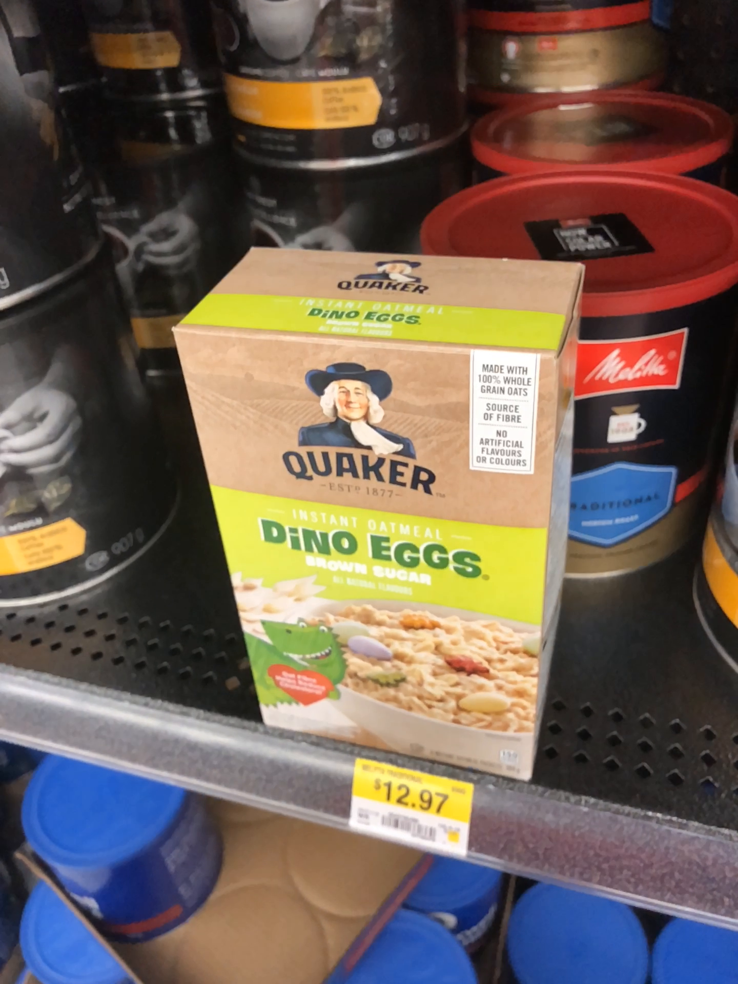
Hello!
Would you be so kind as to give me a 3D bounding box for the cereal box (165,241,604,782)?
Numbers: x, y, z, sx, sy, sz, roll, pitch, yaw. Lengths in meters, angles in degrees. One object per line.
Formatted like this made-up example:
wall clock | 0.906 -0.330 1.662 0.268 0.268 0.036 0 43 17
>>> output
cereal box | 0.015 0.012 0.331 0.130 0.199 0.070 7 38 16
